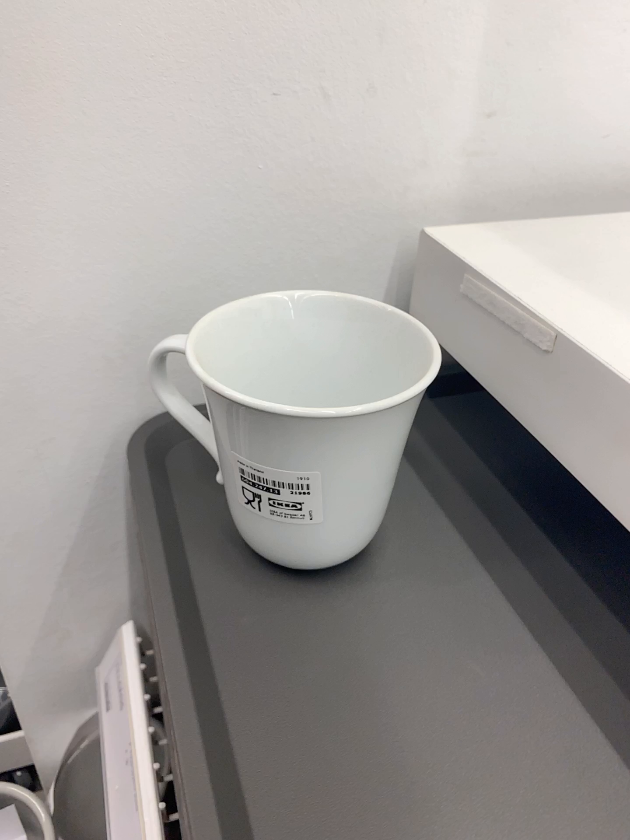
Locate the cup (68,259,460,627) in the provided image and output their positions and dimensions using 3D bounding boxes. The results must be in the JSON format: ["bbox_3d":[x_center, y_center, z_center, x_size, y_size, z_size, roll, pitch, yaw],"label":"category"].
[{"bbox_3d":[-0.015,0.003,0.289,0.130,0.100,0.100,11,34,12],"label":"cup"}]
